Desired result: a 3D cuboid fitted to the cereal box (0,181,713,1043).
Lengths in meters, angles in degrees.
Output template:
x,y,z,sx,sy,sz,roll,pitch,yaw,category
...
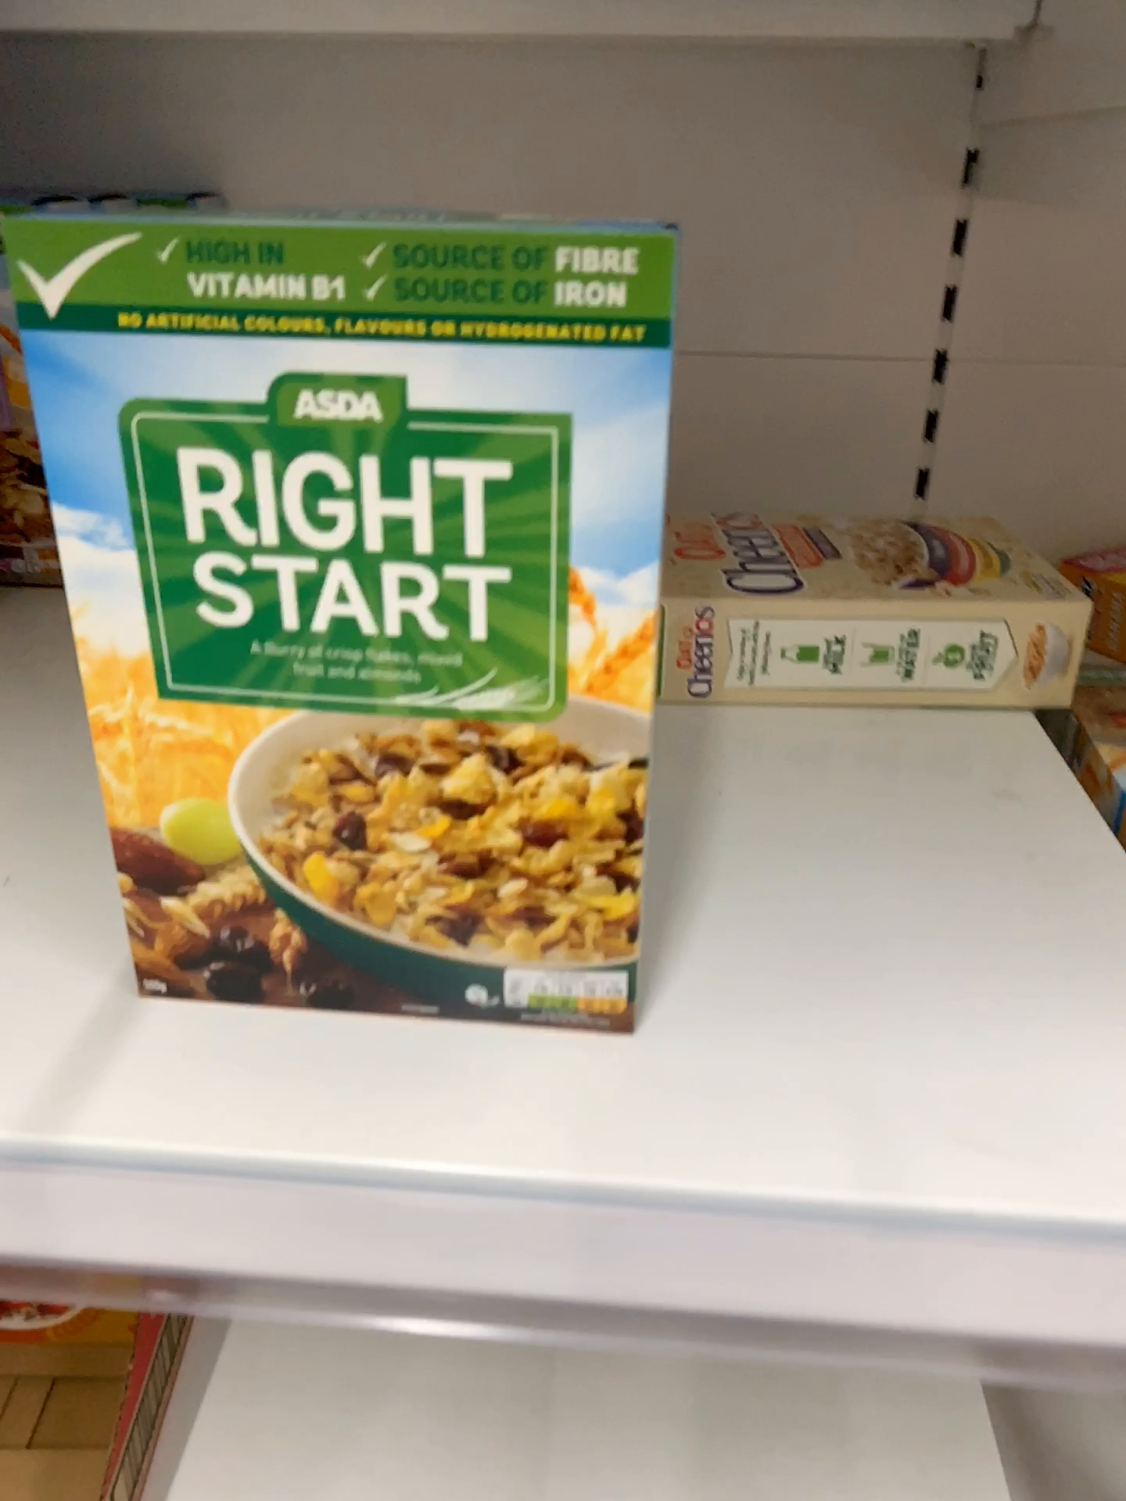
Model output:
x,y,z,sx,sy,sz,roll,pitch,yaw,category
-0.061,-0.038,0.384,0.200,0.268,0.071,3,27,5,cereal box
